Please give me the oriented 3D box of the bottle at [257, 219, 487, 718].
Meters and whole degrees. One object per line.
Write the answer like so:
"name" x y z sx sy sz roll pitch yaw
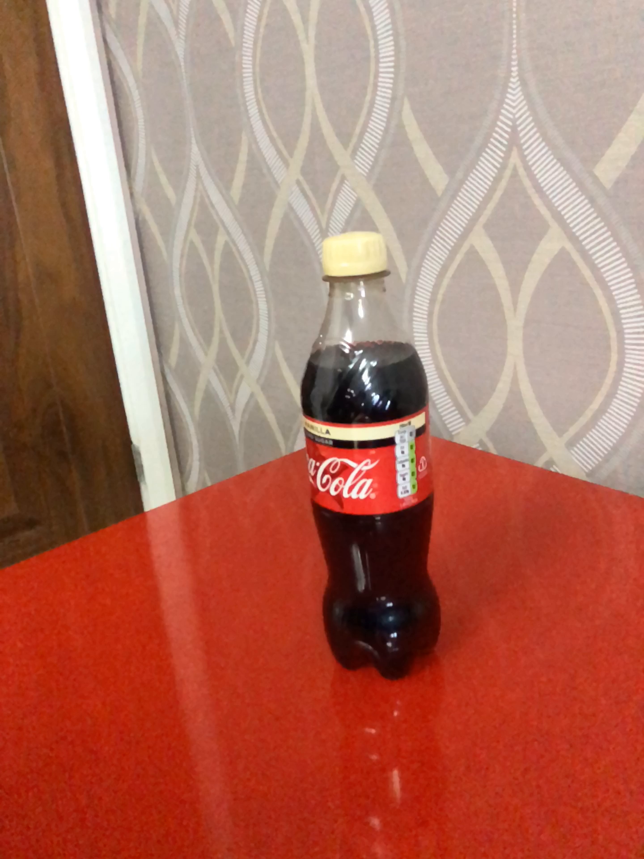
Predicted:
"bottle" 0.032 0.017 0.374 0.080 0.239 0.070 -18 23 -33
